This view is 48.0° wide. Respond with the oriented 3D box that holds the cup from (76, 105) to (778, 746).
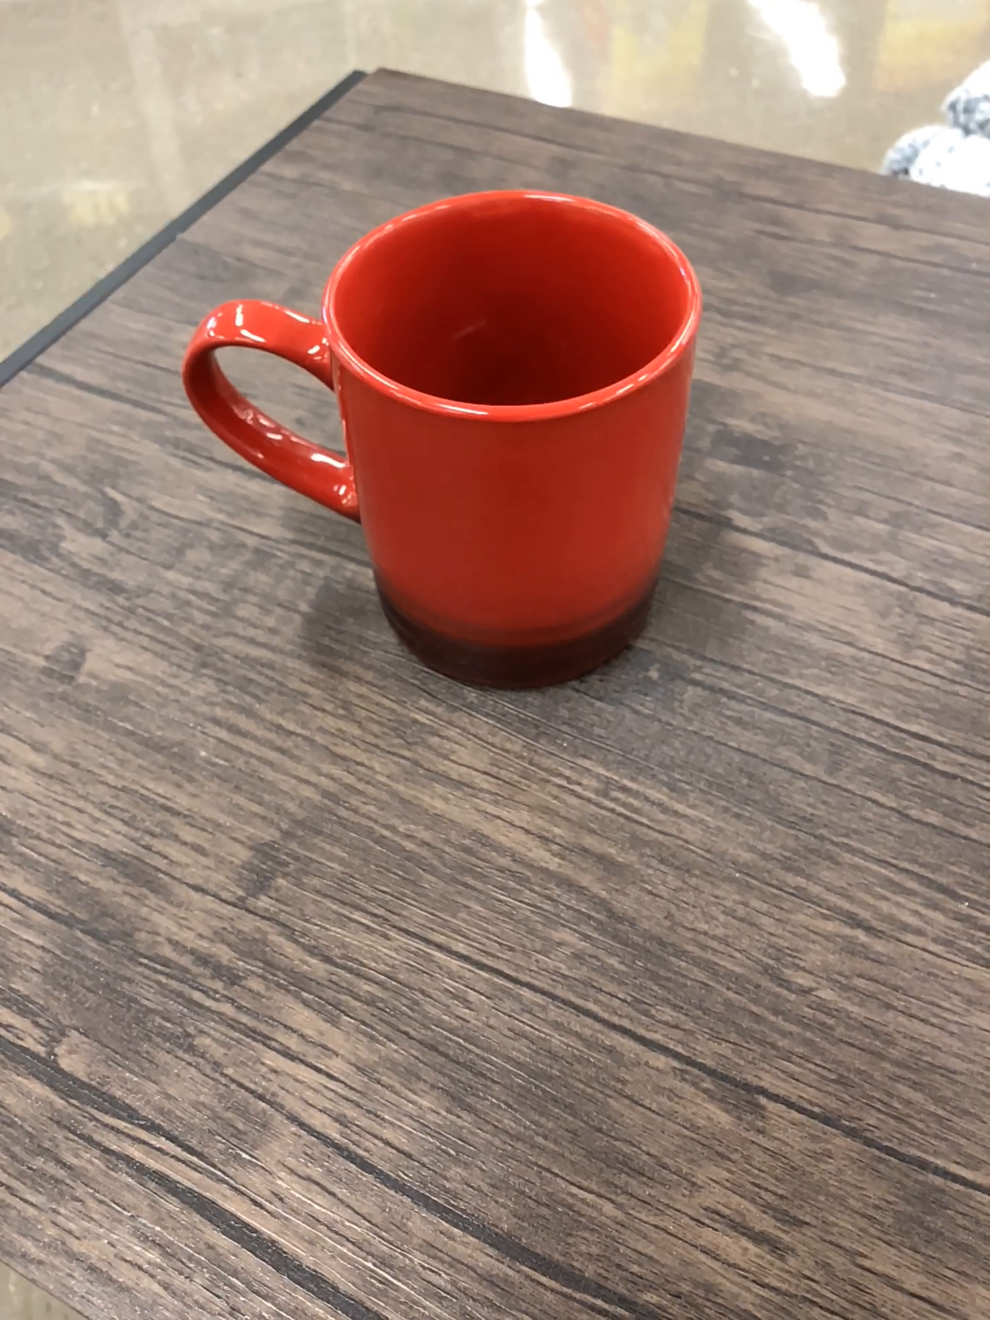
[{"bbox_3d":[-0.011,-0.066,0.308,0.140,0.110,0.100,16,54,14],"label":"cup"}]
